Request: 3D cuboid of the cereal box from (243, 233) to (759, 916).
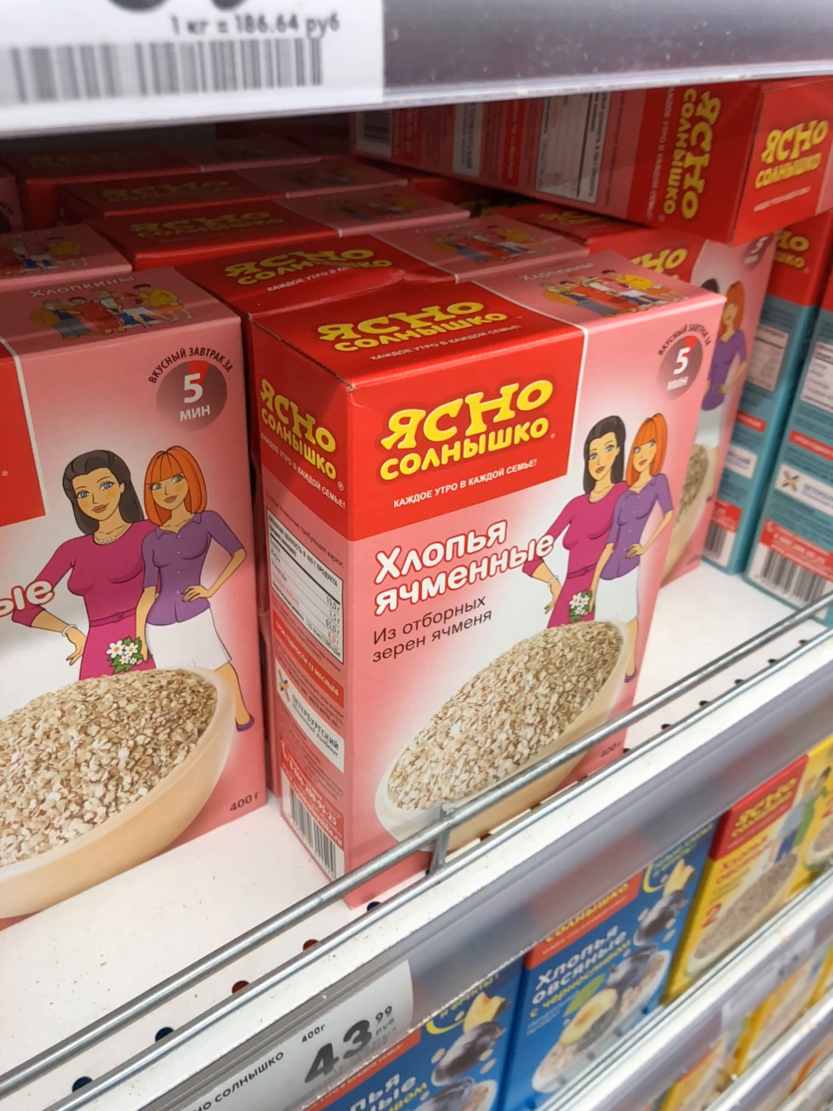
[{"bbox_3d":[0.024,0.006,0.303,0.140,0.189,0.050,-20,40,-30],"label":"cereal box"}]
